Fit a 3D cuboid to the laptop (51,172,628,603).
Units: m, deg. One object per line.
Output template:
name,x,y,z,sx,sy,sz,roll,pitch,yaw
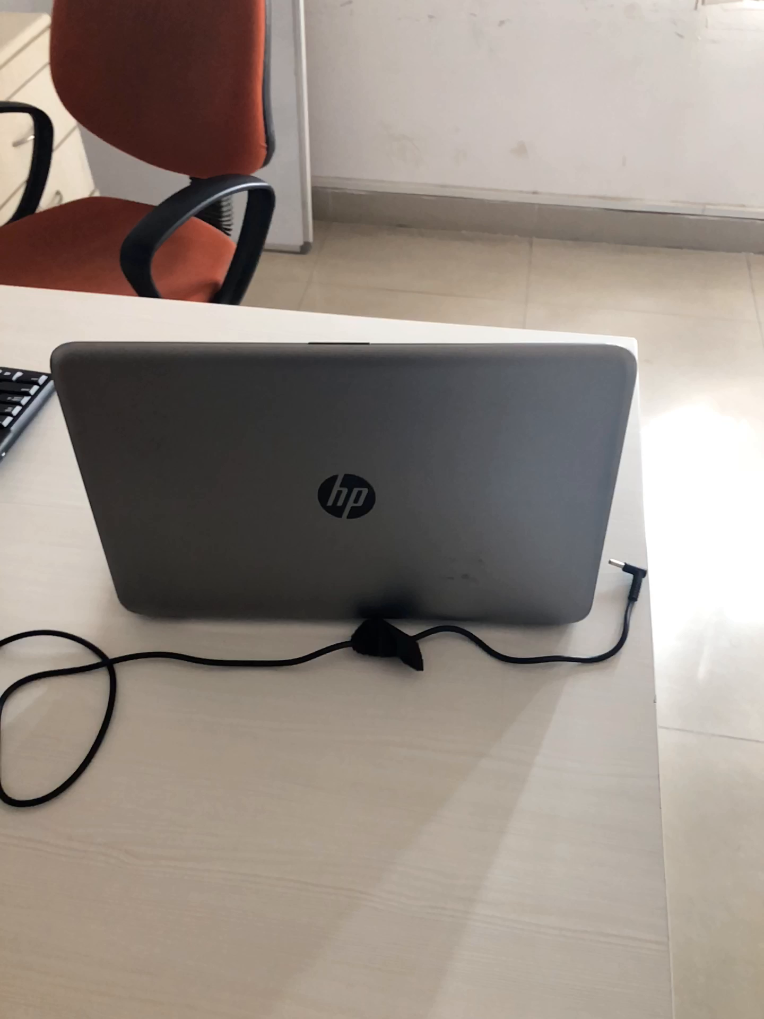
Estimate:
laptop,-0.023,-0.092,0.657,0.350,0.226,0.217,1,51,4
